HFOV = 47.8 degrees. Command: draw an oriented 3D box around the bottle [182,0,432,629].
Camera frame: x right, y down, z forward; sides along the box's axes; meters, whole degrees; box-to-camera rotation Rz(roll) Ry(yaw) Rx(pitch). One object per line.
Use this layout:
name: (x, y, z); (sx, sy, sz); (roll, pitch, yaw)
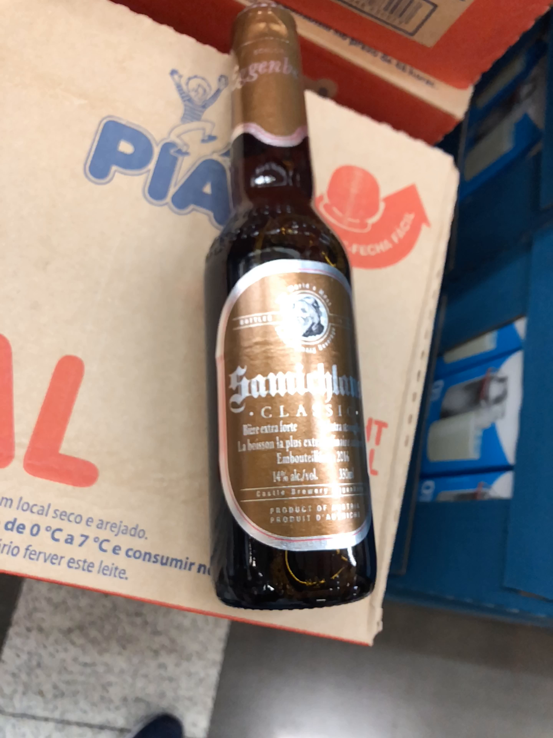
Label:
bottle: (0.004, -0.045, 0.231); (0.060, 0.050, 0.250); (1, 78, -20)
